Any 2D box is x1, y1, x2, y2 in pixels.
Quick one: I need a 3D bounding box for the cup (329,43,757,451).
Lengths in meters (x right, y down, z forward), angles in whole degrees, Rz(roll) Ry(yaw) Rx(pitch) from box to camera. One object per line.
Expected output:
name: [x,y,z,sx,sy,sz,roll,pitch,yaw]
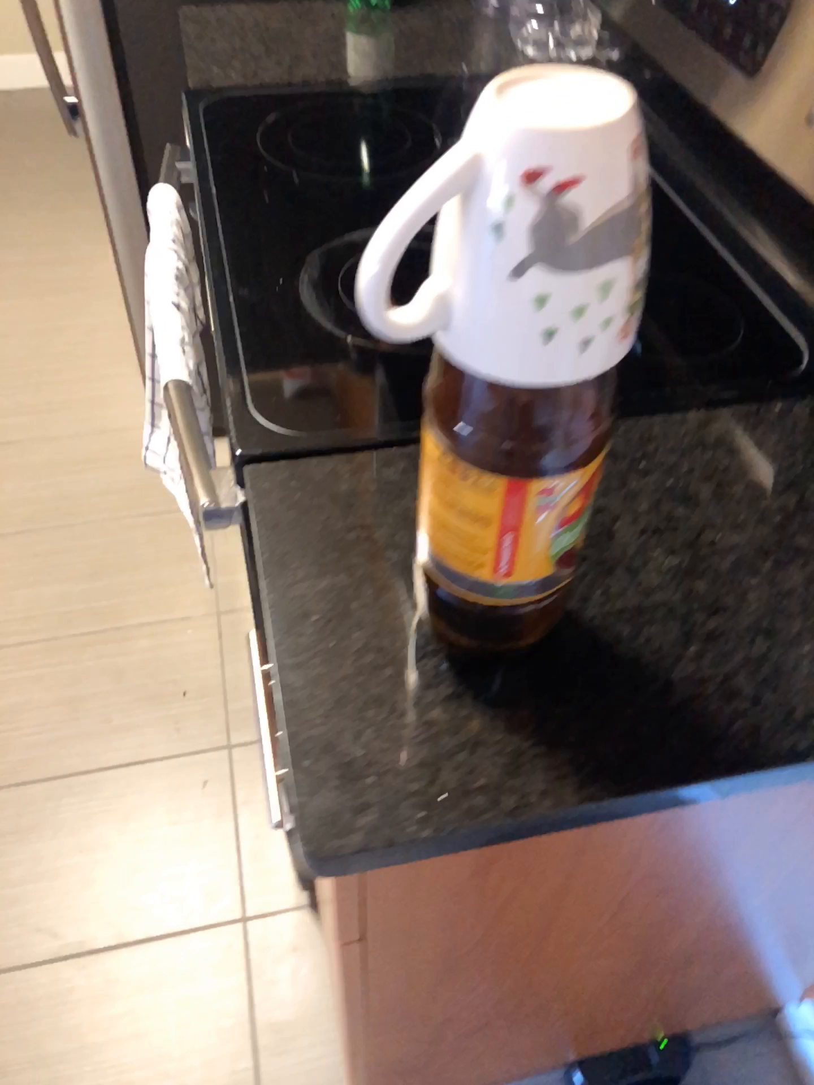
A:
cup: [0.052,-0.135,0.400,0.140,0.109,0.100,-25,54,-24]
